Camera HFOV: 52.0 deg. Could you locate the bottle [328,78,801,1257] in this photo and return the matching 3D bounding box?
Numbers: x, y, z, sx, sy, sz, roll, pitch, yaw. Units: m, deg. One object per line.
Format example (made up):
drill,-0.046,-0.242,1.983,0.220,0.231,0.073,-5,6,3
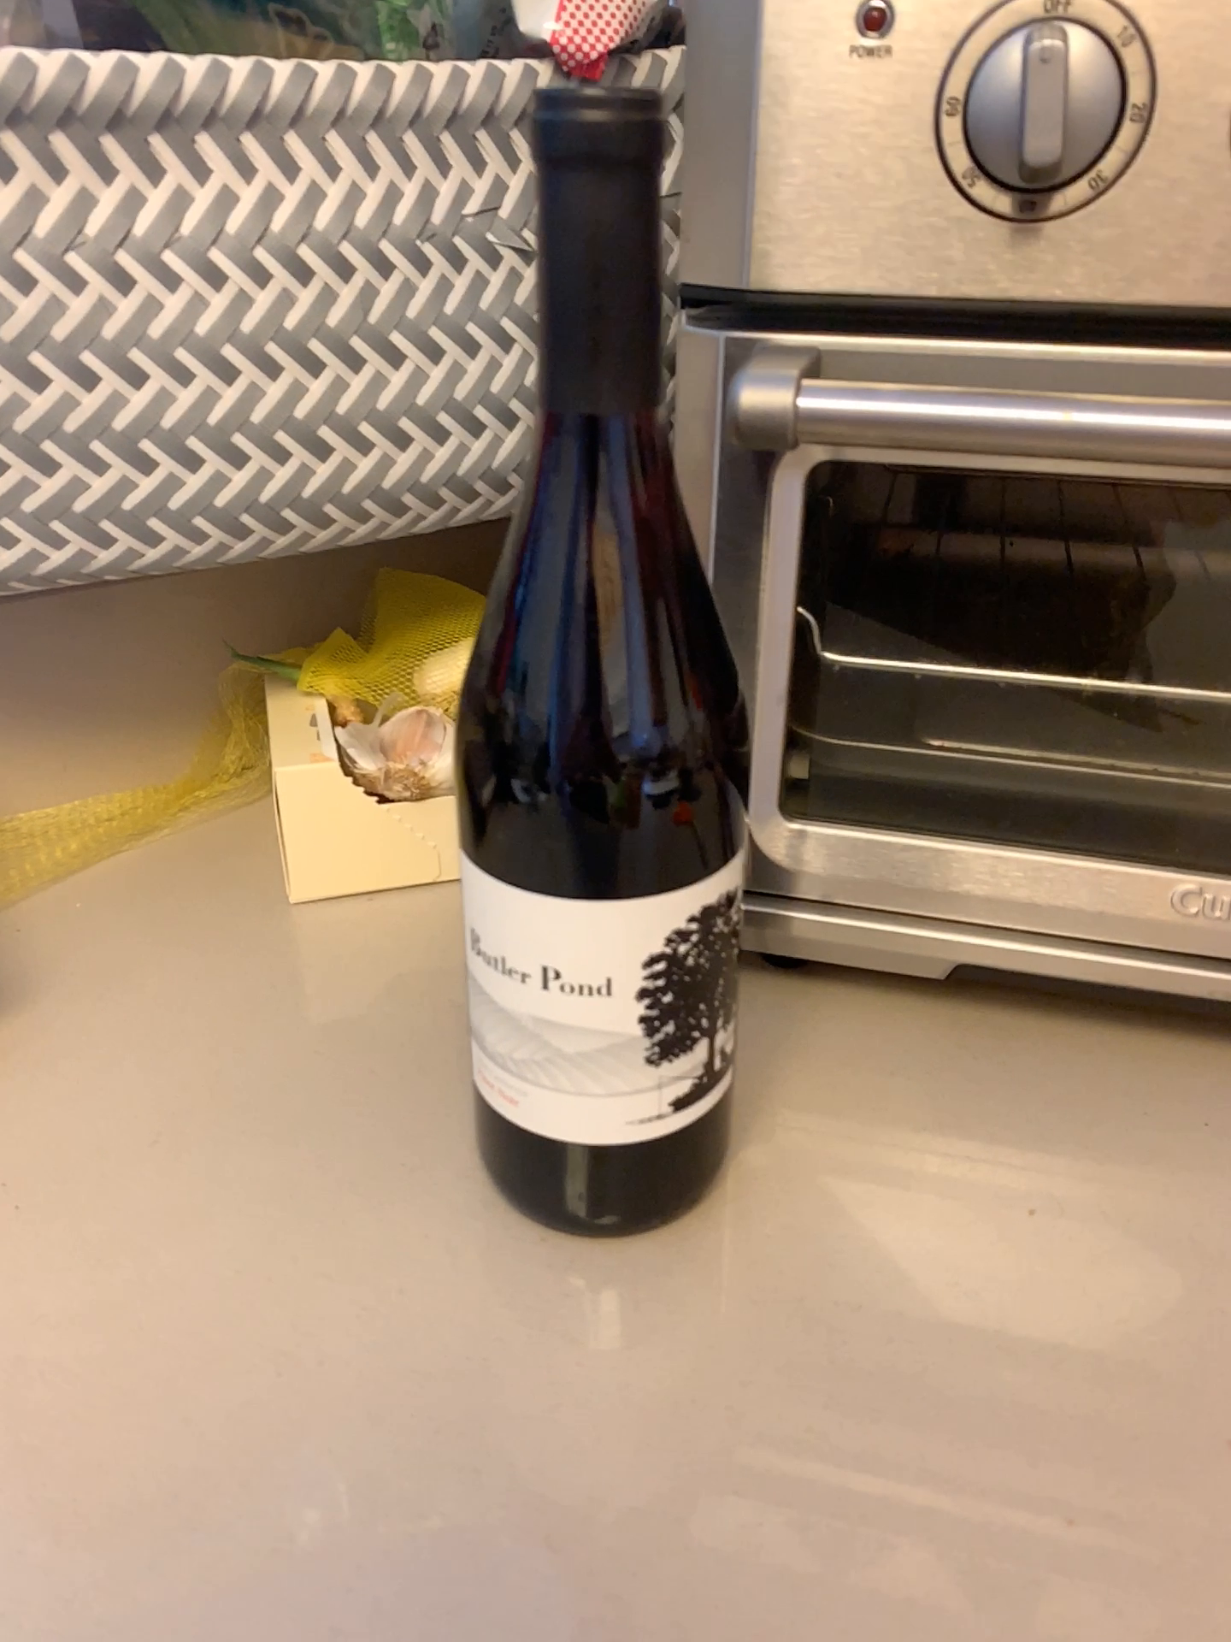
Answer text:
bottle,-0.005,-0.022,0.305,0.080,0.268,0.070,3,28,6
